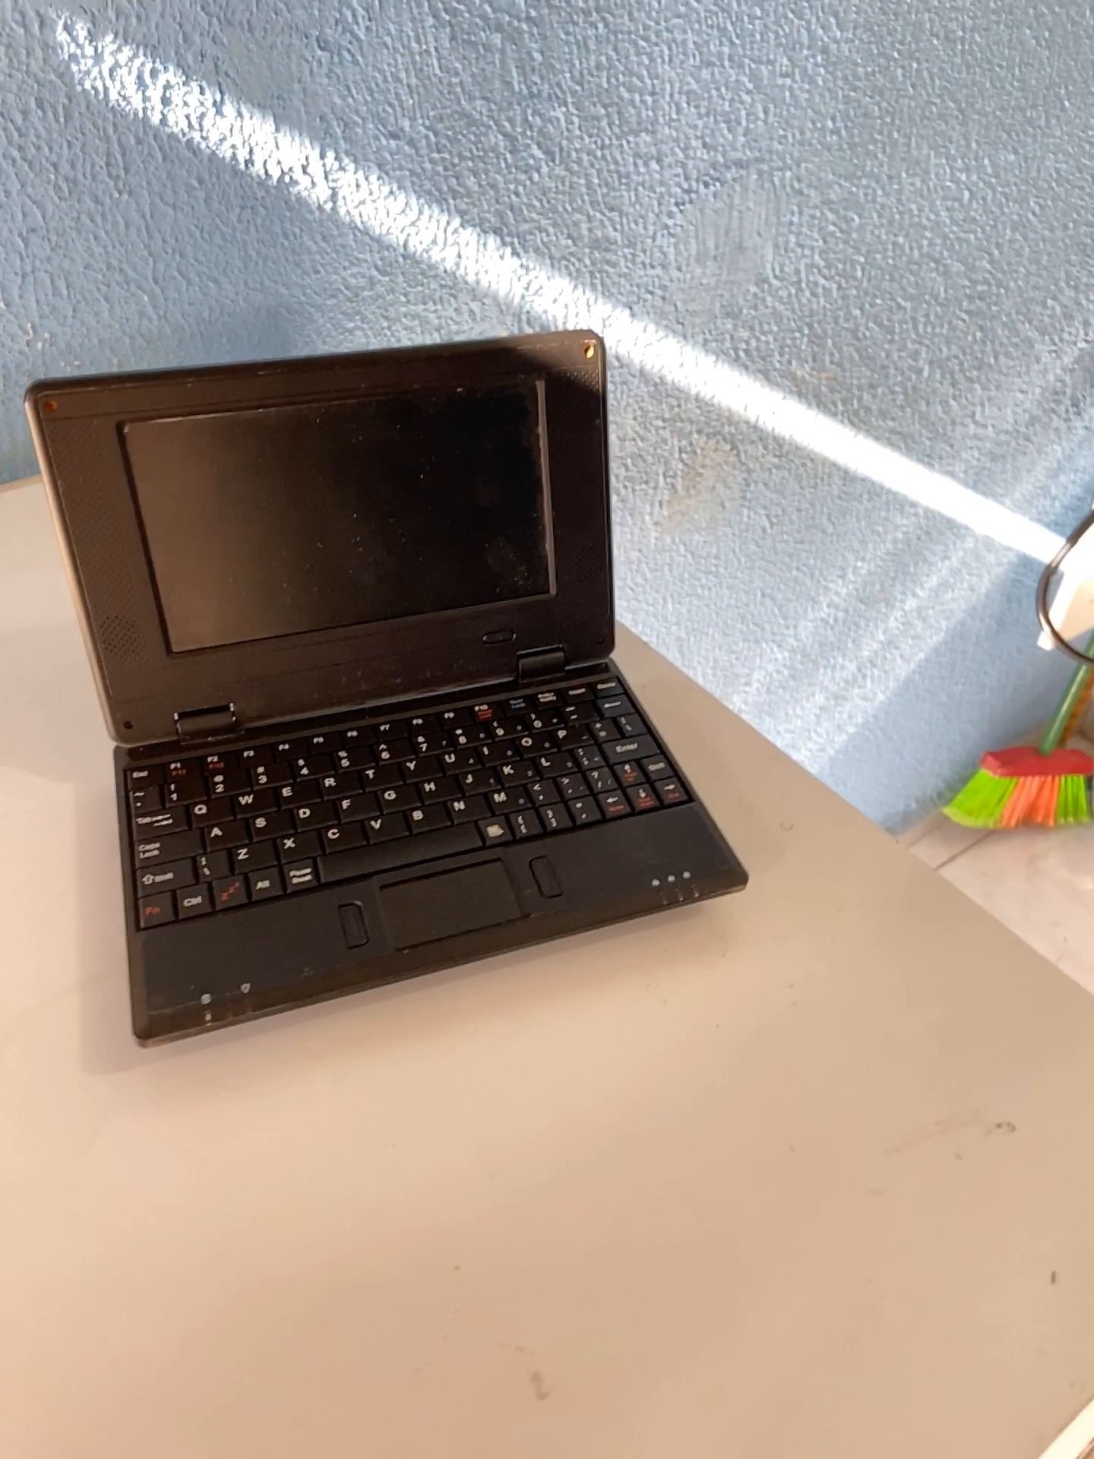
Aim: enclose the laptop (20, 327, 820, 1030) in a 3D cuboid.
[{"bbox_3d":[-0.055,-0.033,0.406,0.216,0.137,0.180,-11,43,-16],"label":"laptop"}]
